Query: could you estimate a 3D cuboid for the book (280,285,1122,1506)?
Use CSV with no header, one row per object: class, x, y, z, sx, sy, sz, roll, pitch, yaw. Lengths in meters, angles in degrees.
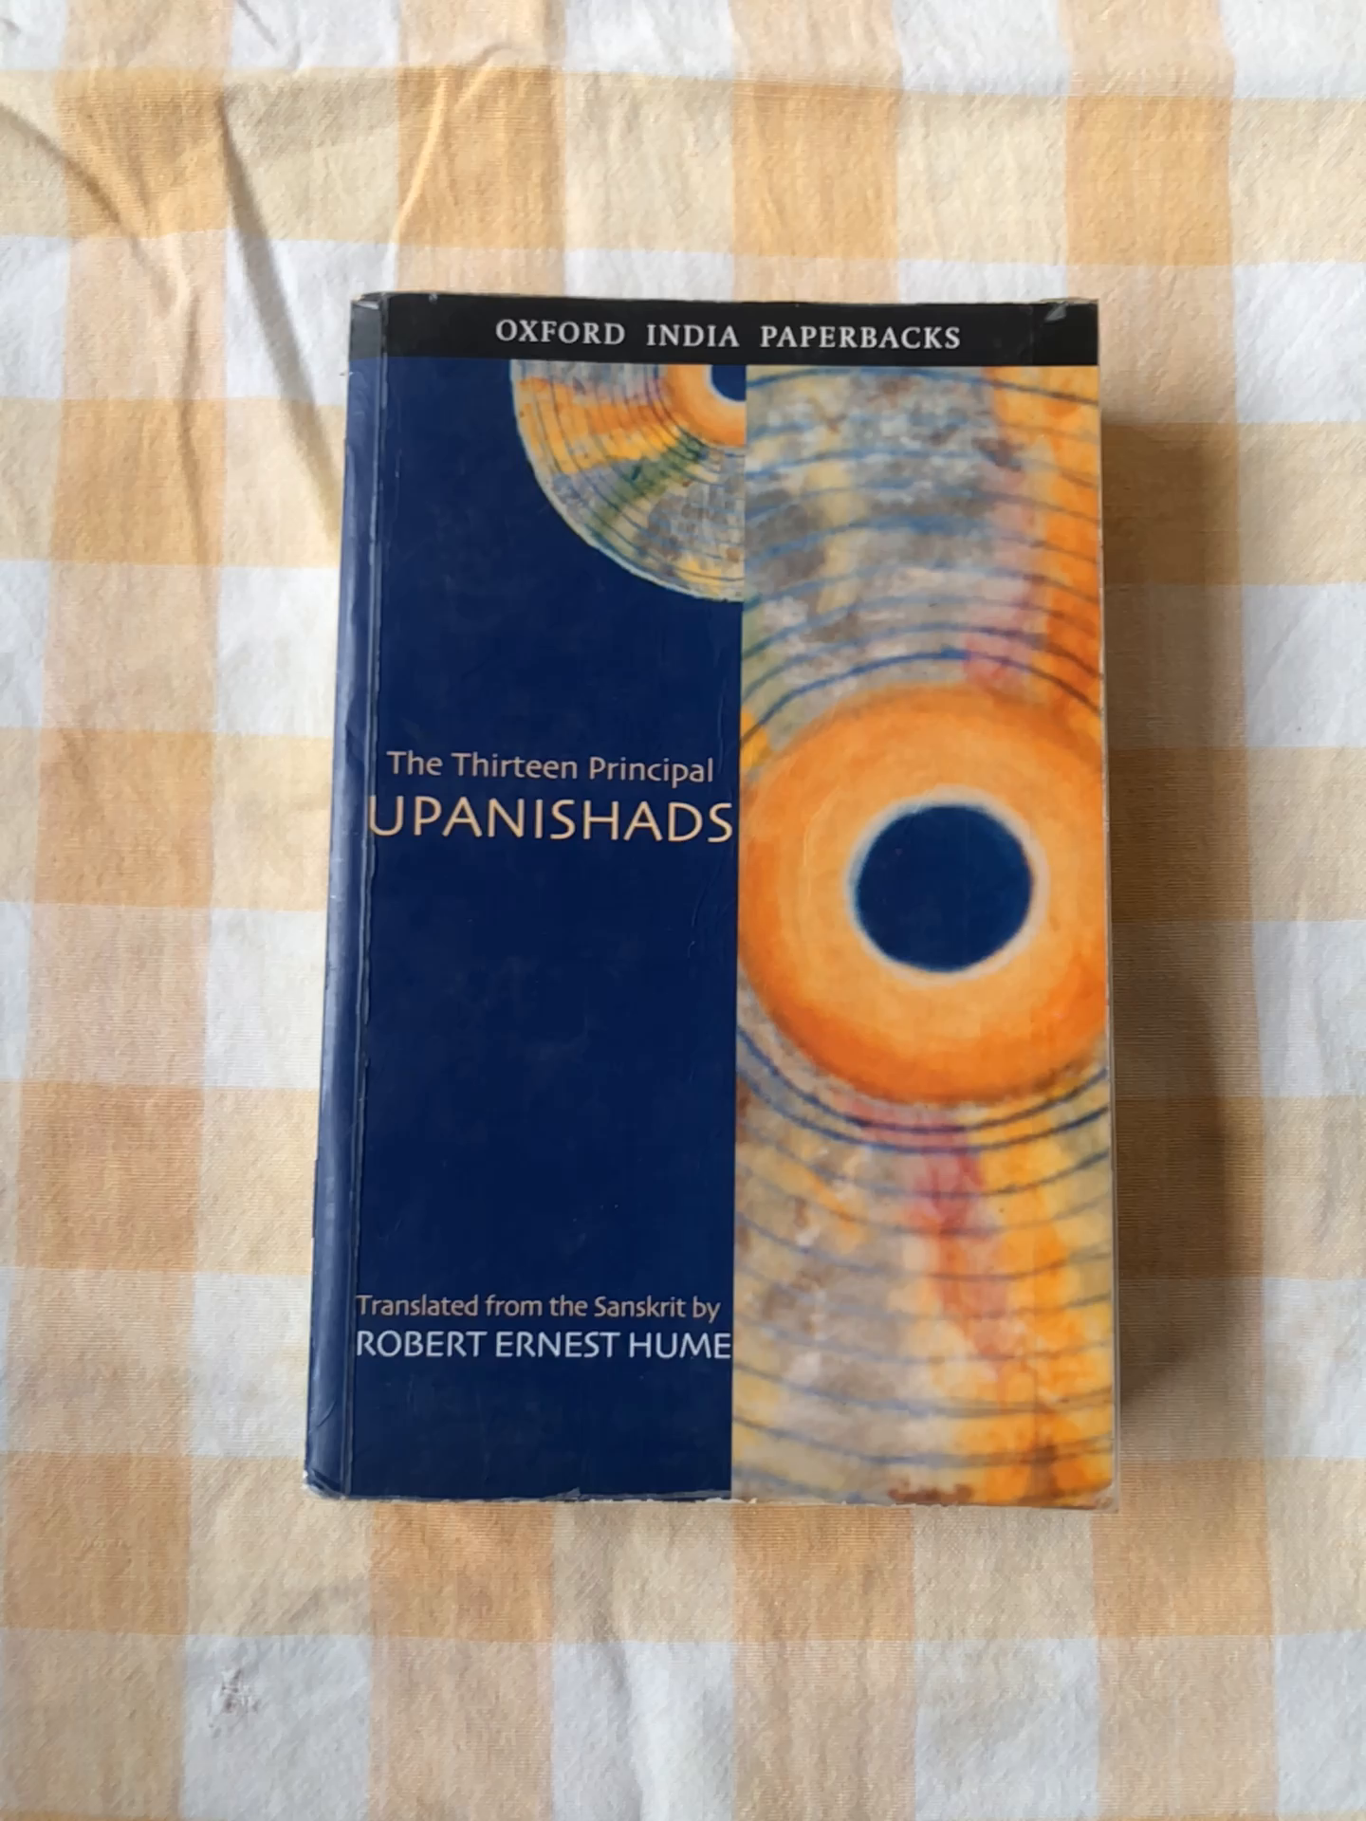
book,0.004,-0.004,0.282,0.140,0.040,0.210,1,85,-1
